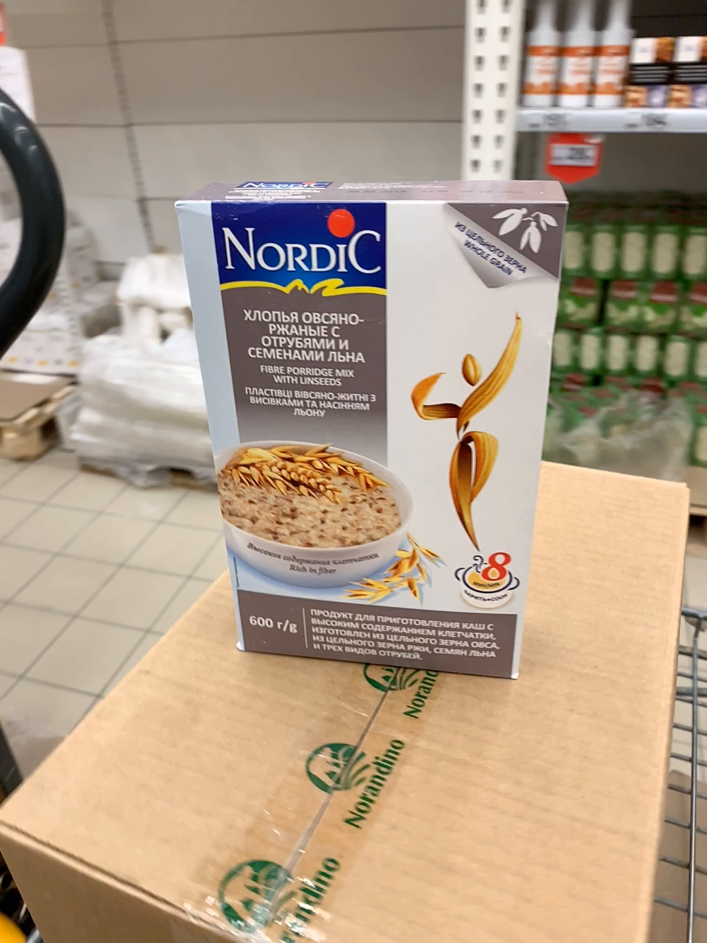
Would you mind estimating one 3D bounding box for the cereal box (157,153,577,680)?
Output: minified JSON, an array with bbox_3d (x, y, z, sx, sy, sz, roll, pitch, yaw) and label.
[{"bbox_3d":[0.011,-0.014,0.341,0.150,0.239,0.050,3,32,10],"label":"cereal box"}]
